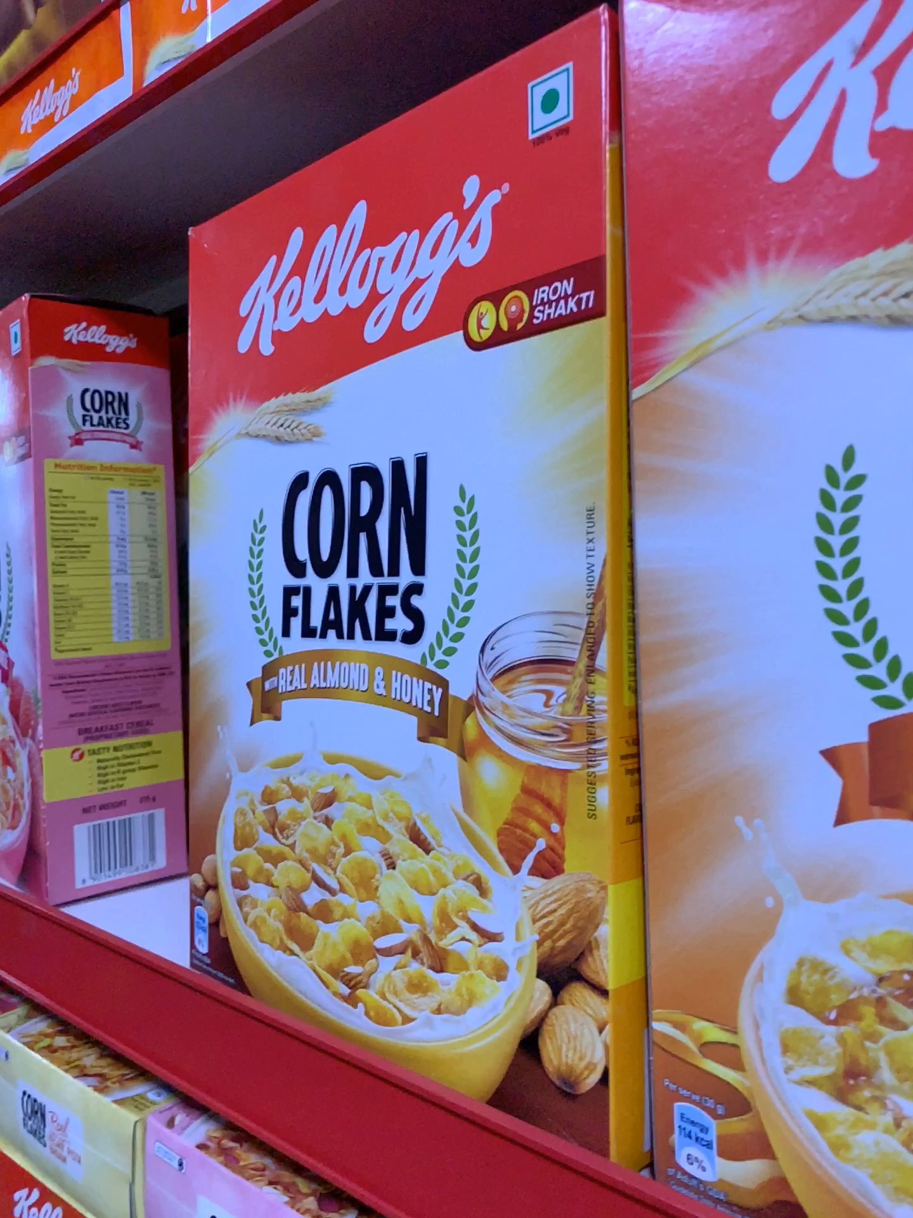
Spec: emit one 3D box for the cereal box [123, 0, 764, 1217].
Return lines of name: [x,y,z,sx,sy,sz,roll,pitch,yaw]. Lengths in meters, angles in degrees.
cereal box: [-0.017,-0.005,0.251,0.060,0.230,0.170,-3,1,-44]
